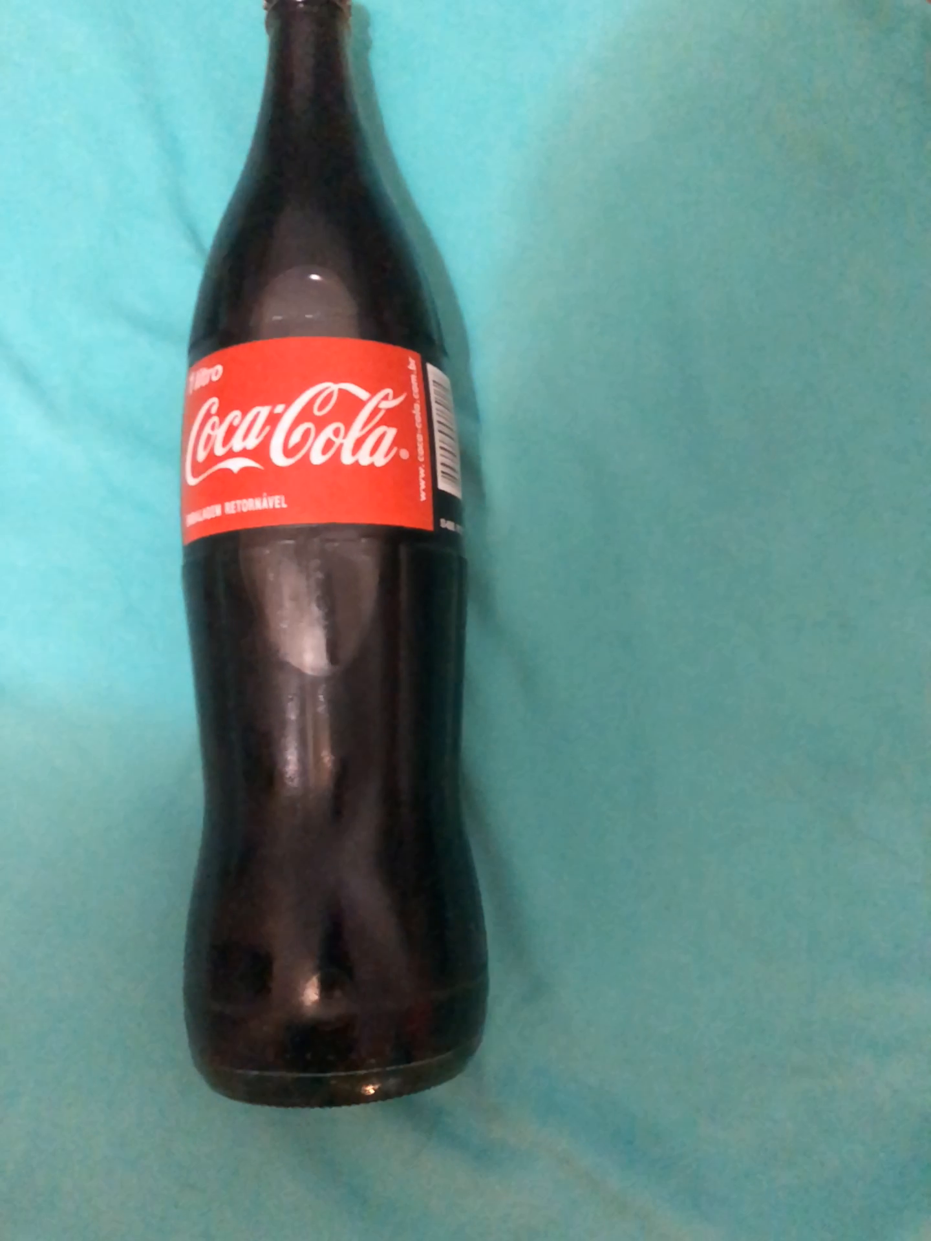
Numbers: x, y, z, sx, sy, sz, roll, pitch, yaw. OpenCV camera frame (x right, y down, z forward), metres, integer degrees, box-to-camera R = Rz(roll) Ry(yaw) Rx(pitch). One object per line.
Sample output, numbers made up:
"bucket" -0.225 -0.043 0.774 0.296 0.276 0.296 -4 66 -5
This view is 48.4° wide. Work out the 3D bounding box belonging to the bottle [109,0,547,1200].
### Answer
"bottle" -0.041 -0.043 0.299 0.100 0.070 0.360 -3 82 -2
